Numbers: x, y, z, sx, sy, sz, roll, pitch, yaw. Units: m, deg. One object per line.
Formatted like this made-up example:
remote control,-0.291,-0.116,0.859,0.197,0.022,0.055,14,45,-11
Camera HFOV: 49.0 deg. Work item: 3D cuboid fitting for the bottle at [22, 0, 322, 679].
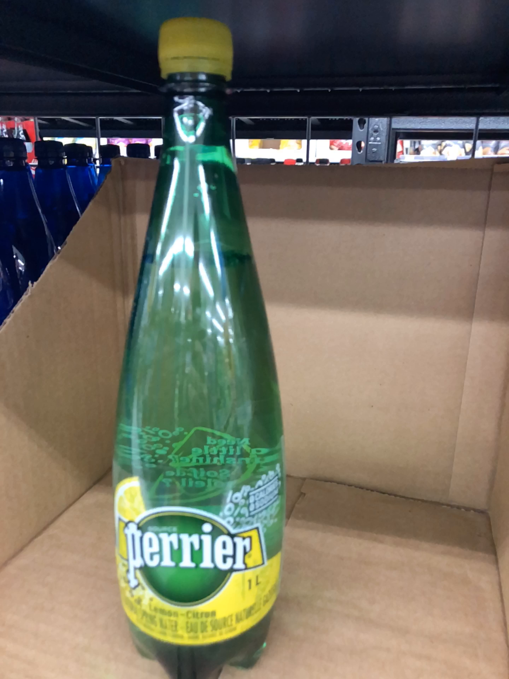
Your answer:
bottle,-0.028,0.015,0.273,0.100,0.318,0.080,4,17,10
